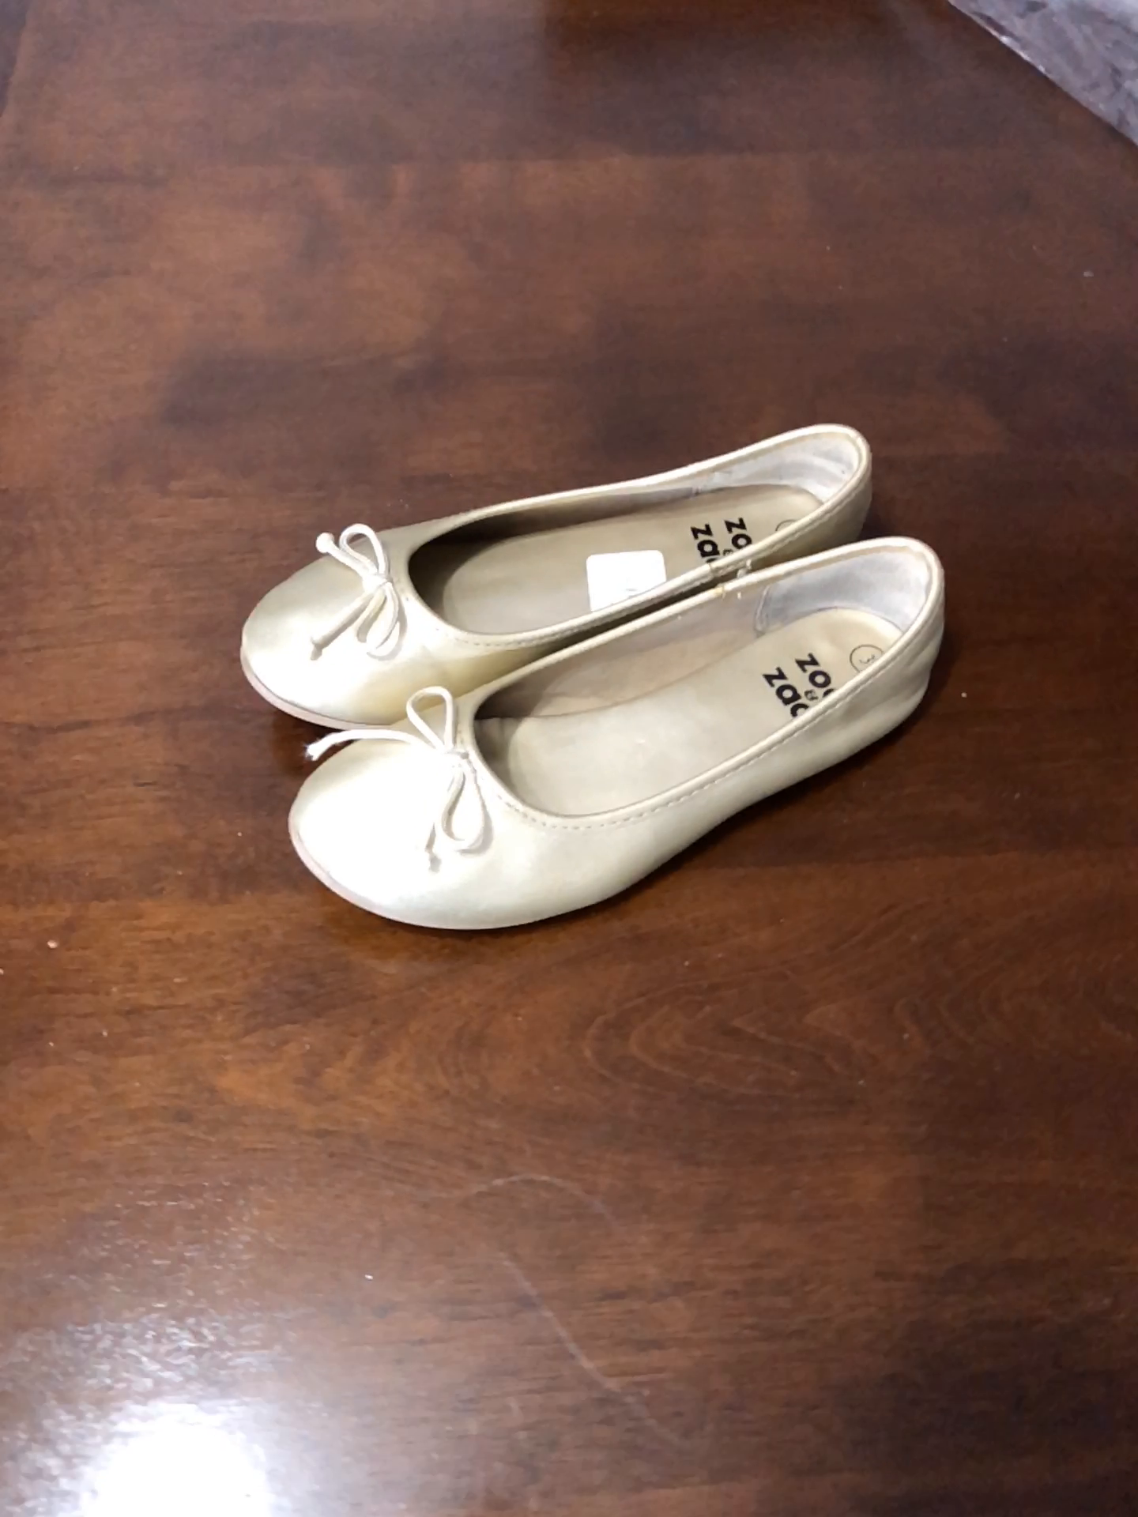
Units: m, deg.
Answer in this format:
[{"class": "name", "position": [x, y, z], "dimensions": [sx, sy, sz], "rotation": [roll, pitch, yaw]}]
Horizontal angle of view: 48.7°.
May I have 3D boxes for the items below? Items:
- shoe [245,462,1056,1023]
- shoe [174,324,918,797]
[{"class": "shoe", "position": [0.025, -0.009, 0.412], "dimensions": [0.230, 0.070, 0.090], "rotation": [-20, 62, -13]}, {"class": "shoe", "position": [-0.007, -0.072, 0.442], "dimensions": [0.230, 0.070, 0.080], "rotation": [-18, 61, -12]}]
